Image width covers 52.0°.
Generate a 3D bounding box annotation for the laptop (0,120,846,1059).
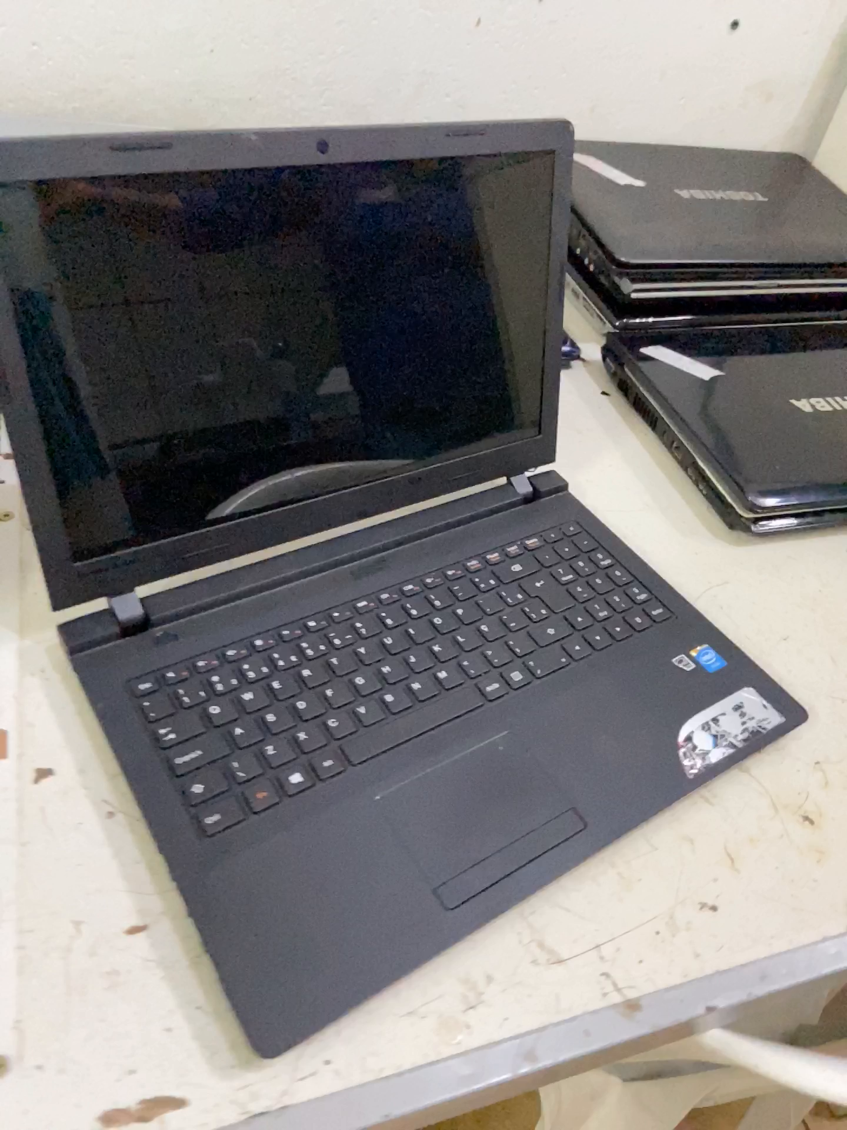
[{"bbox_3d":[0.019,-0.046,0.464,0.377,0.230,0.338,-19,52,-30],"label":"laptop"}]
